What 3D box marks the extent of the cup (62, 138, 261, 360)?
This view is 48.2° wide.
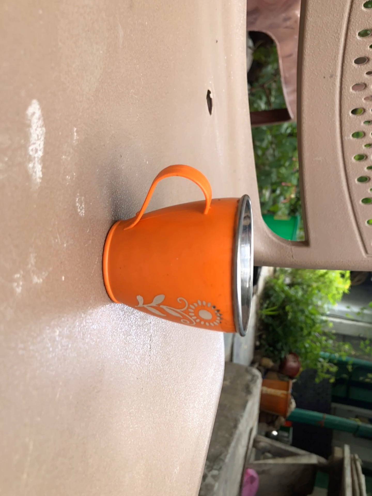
[{"bbox_3d":[-0.002,0.002,0.182,0.080,0.060,0.050,78,25,-47],"label":"cup"}]
